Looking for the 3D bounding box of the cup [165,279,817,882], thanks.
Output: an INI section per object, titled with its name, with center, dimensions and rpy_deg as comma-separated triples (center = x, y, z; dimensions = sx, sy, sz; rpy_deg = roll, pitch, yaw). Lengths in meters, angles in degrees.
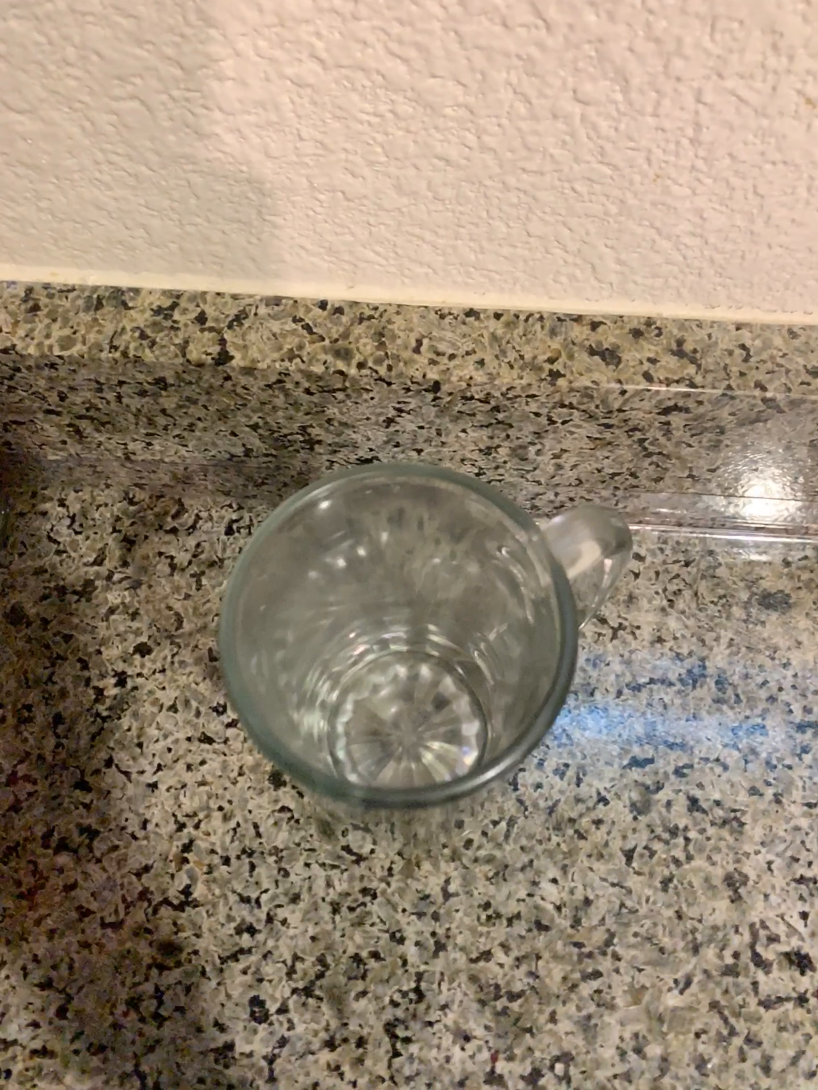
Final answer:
[cup]
center = 0.020, 0.027, 0.256
dimensions = 0.120, 0.159, 0.080
rpy_deg = -34, 71, -13
